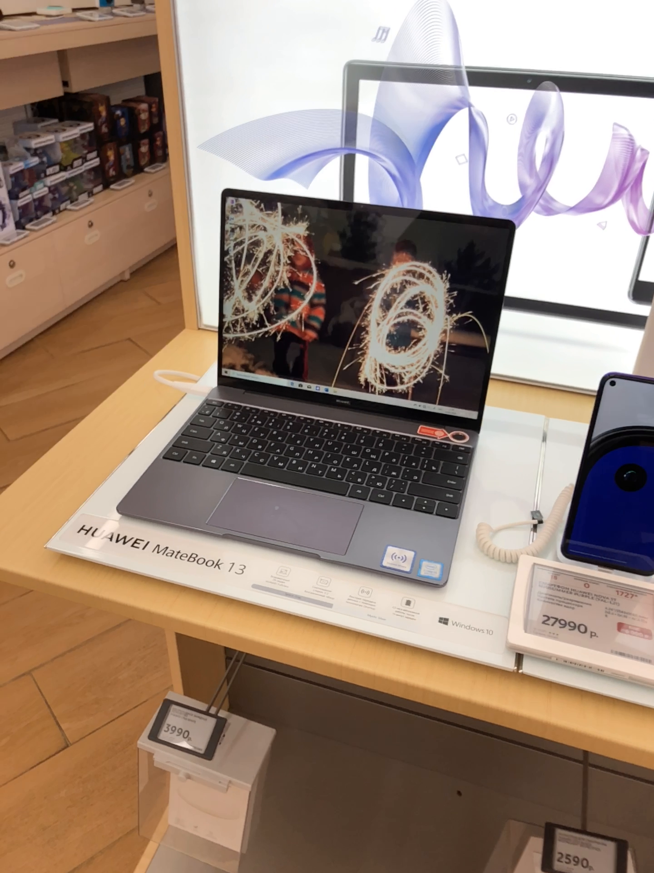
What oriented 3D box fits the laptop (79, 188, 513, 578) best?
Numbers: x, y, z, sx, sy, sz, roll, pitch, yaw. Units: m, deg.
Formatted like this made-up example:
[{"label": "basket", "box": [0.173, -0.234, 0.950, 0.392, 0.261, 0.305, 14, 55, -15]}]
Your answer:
[{"label": "laptop", "box": [-0.008, -0.066, 0.621, 0.274, 0.192, 0.245, 11, 36, 13]}]
